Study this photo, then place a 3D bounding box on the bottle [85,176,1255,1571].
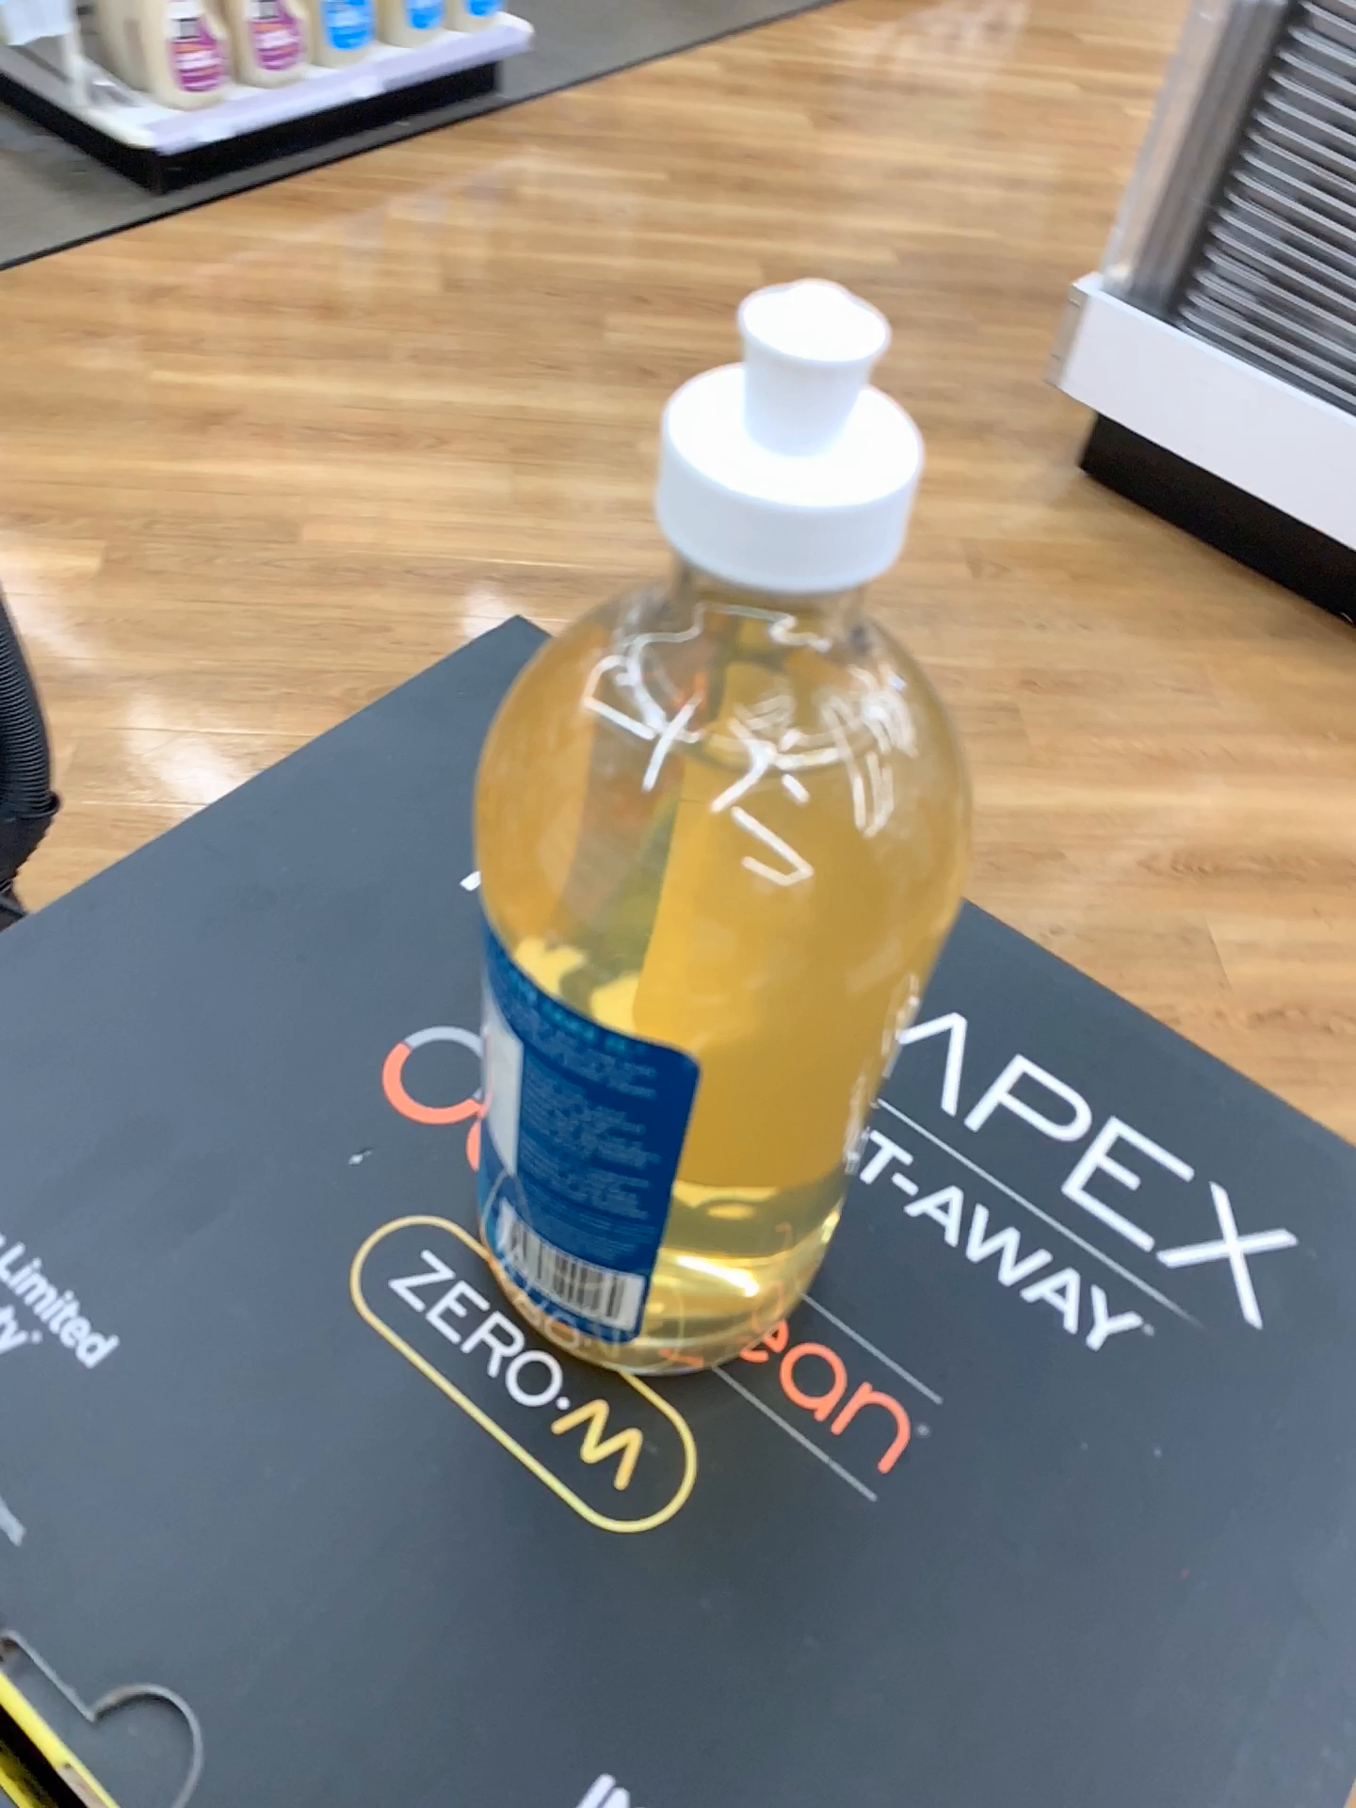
[{"bbox_3d":[-0.012,0.015,0.229,0.090,0.209,0.090,4,50,-5],"label":"bottle"}]
